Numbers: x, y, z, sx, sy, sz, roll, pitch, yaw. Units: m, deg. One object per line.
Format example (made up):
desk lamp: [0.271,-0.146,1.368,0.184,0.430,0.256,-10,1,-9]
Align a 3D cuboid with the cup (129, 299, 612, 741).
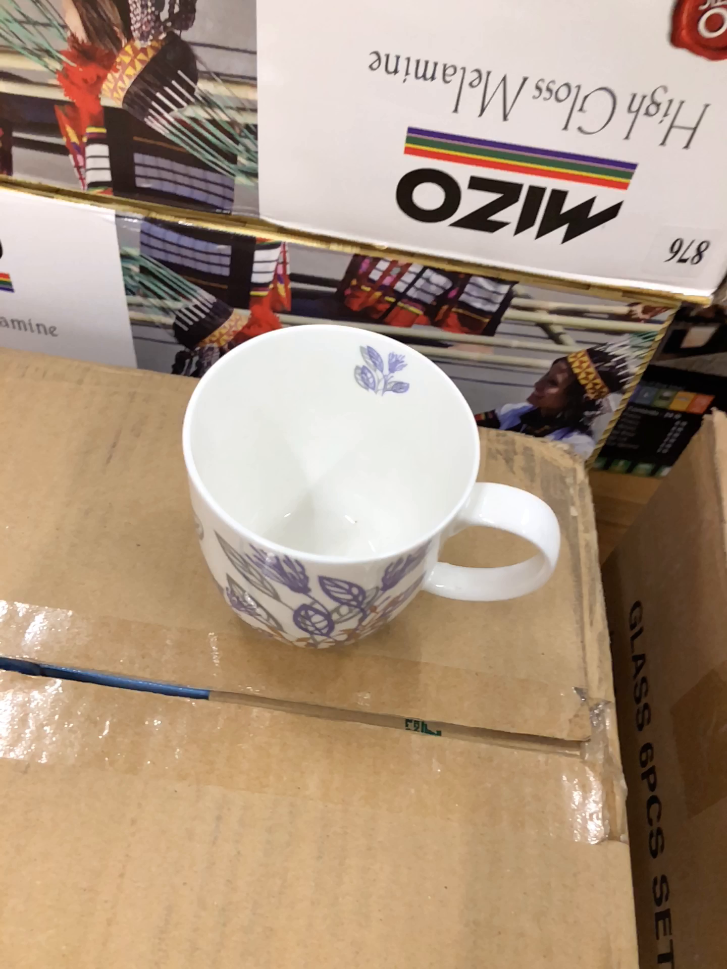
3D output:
cup: [0.006,0.011,0.251,0.120,0.070,0.090,13,54,1]
